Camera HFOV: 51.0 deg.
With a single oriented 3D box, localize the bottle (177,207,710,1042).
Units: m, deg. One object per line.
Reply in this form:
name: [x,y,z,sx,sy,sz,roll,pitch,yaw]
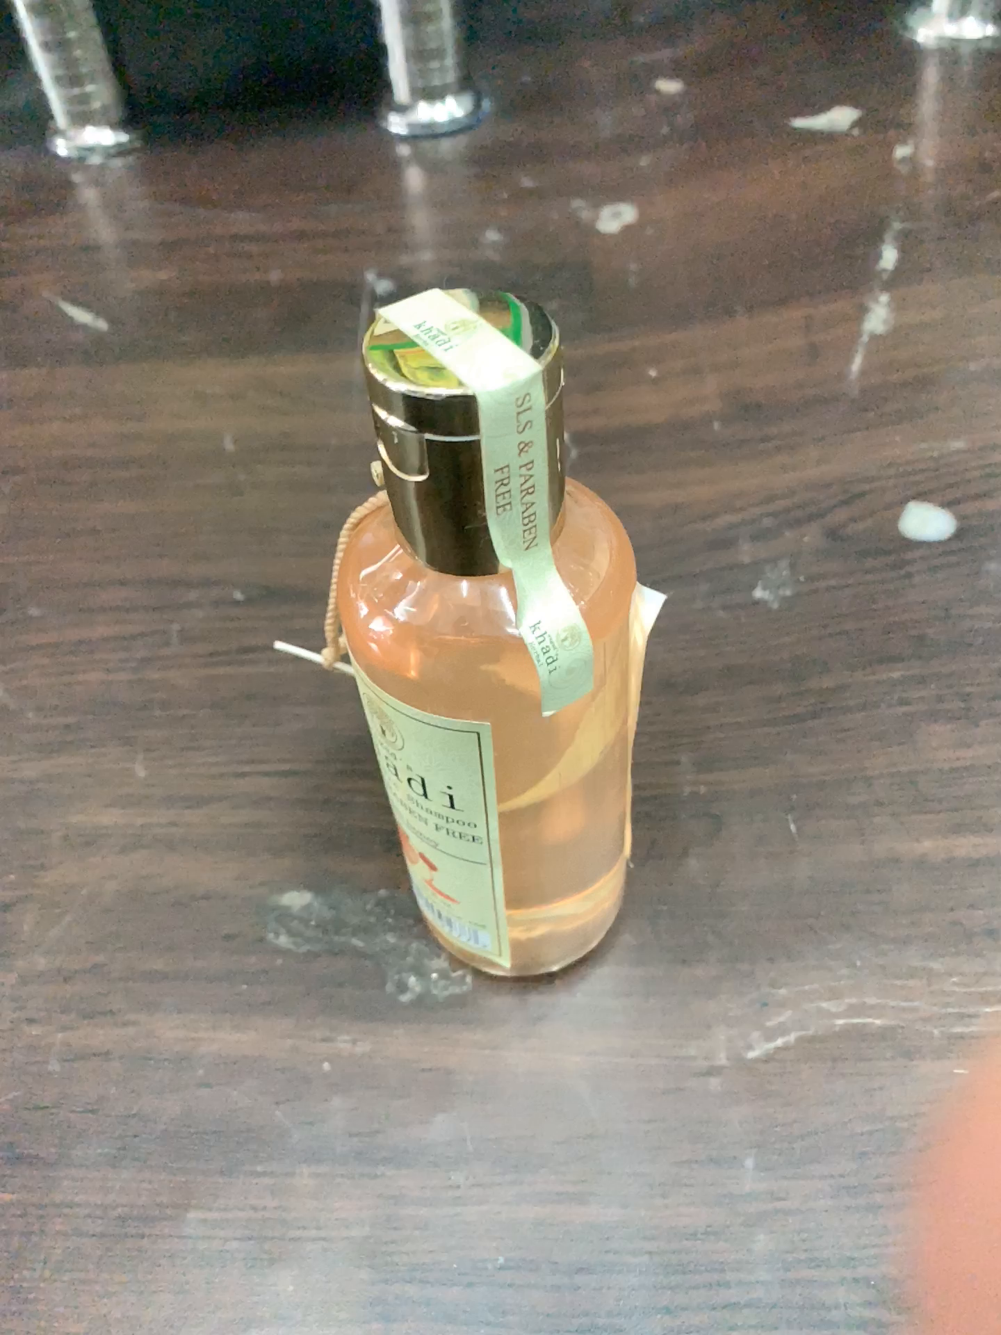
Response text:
bottle: [-0.004,0.006,0.193,0.050,0.150,0.050,-2,49,3]
